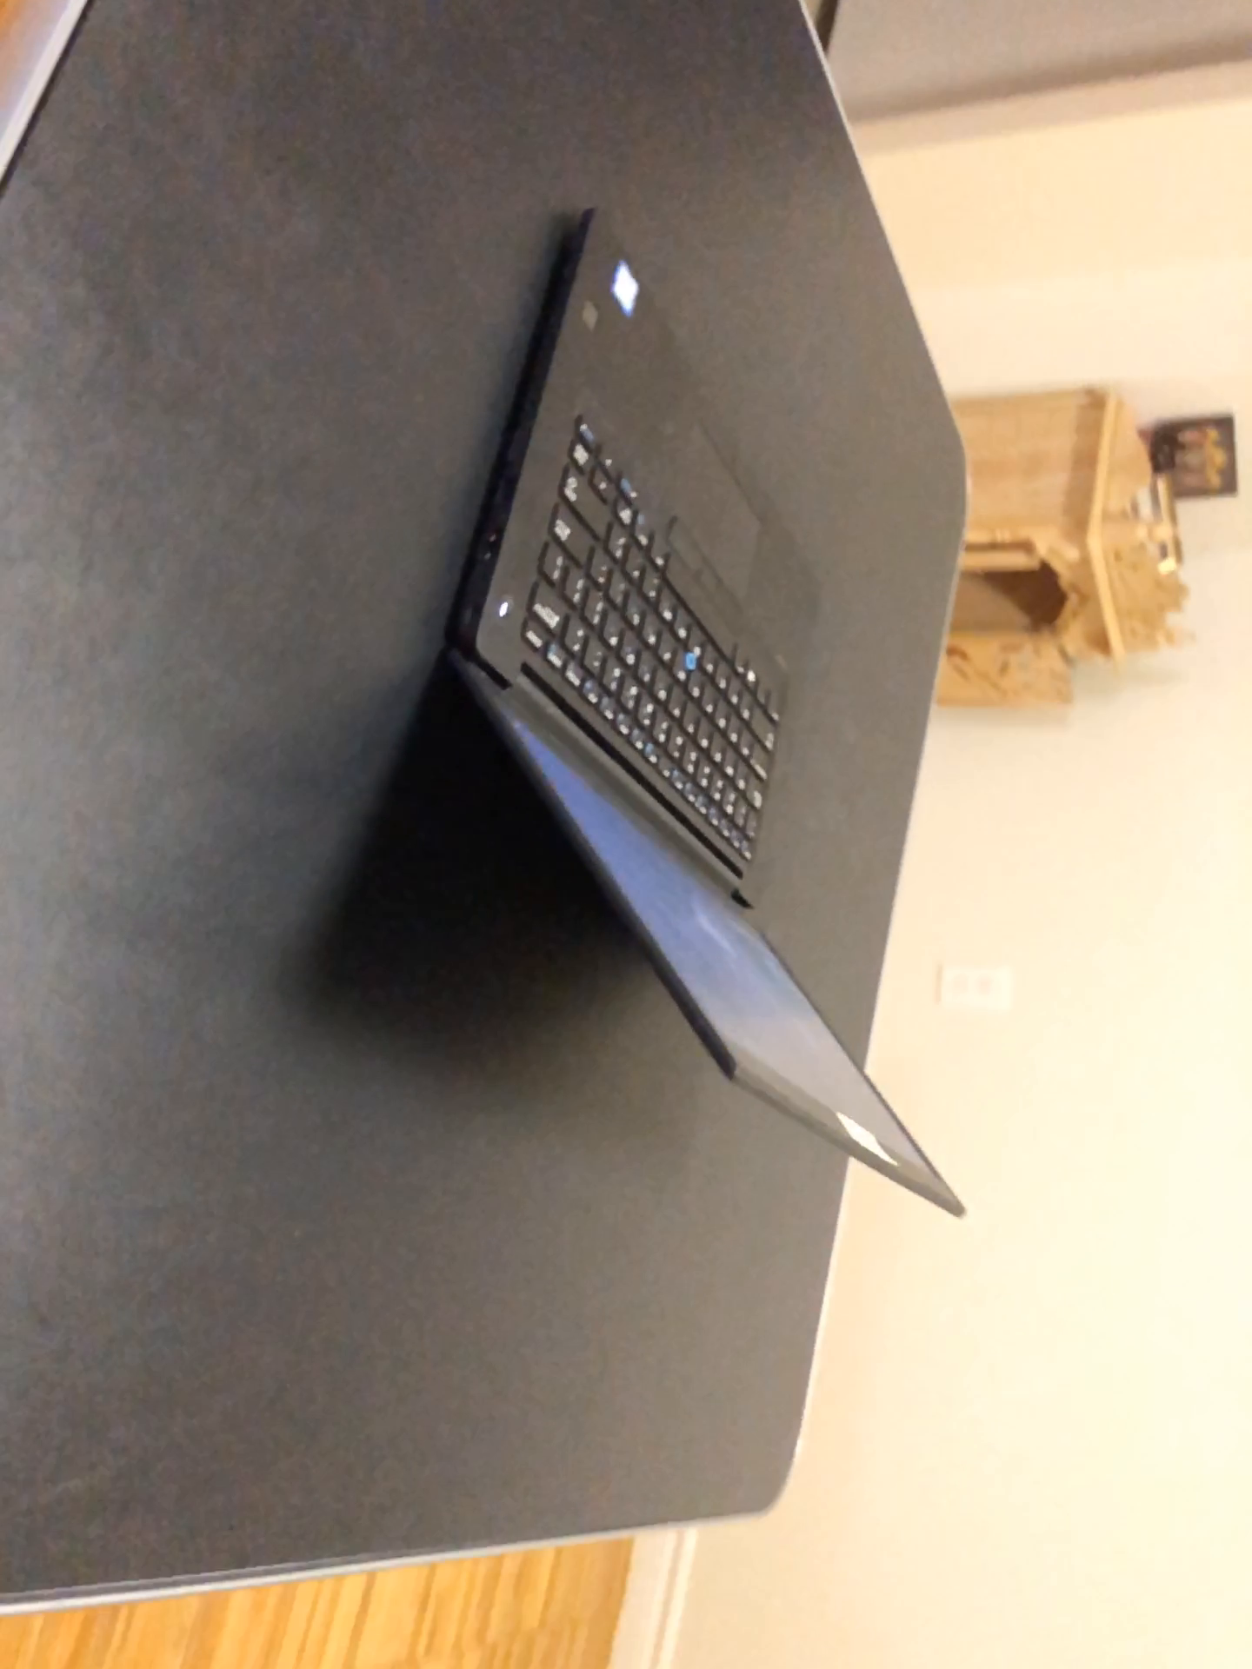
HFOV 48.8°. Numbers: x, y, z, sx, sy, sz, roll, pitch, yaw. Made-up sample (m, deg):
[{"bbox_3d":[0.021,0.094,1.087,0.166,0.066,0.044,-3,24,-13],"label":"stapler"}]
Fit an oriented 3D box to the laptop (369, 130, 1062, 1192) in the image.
[{"bbox_3d":[0.081,-0.052,0.652,0.321,0.140,0.368,42,59,-57],"label":"laptop"}]
